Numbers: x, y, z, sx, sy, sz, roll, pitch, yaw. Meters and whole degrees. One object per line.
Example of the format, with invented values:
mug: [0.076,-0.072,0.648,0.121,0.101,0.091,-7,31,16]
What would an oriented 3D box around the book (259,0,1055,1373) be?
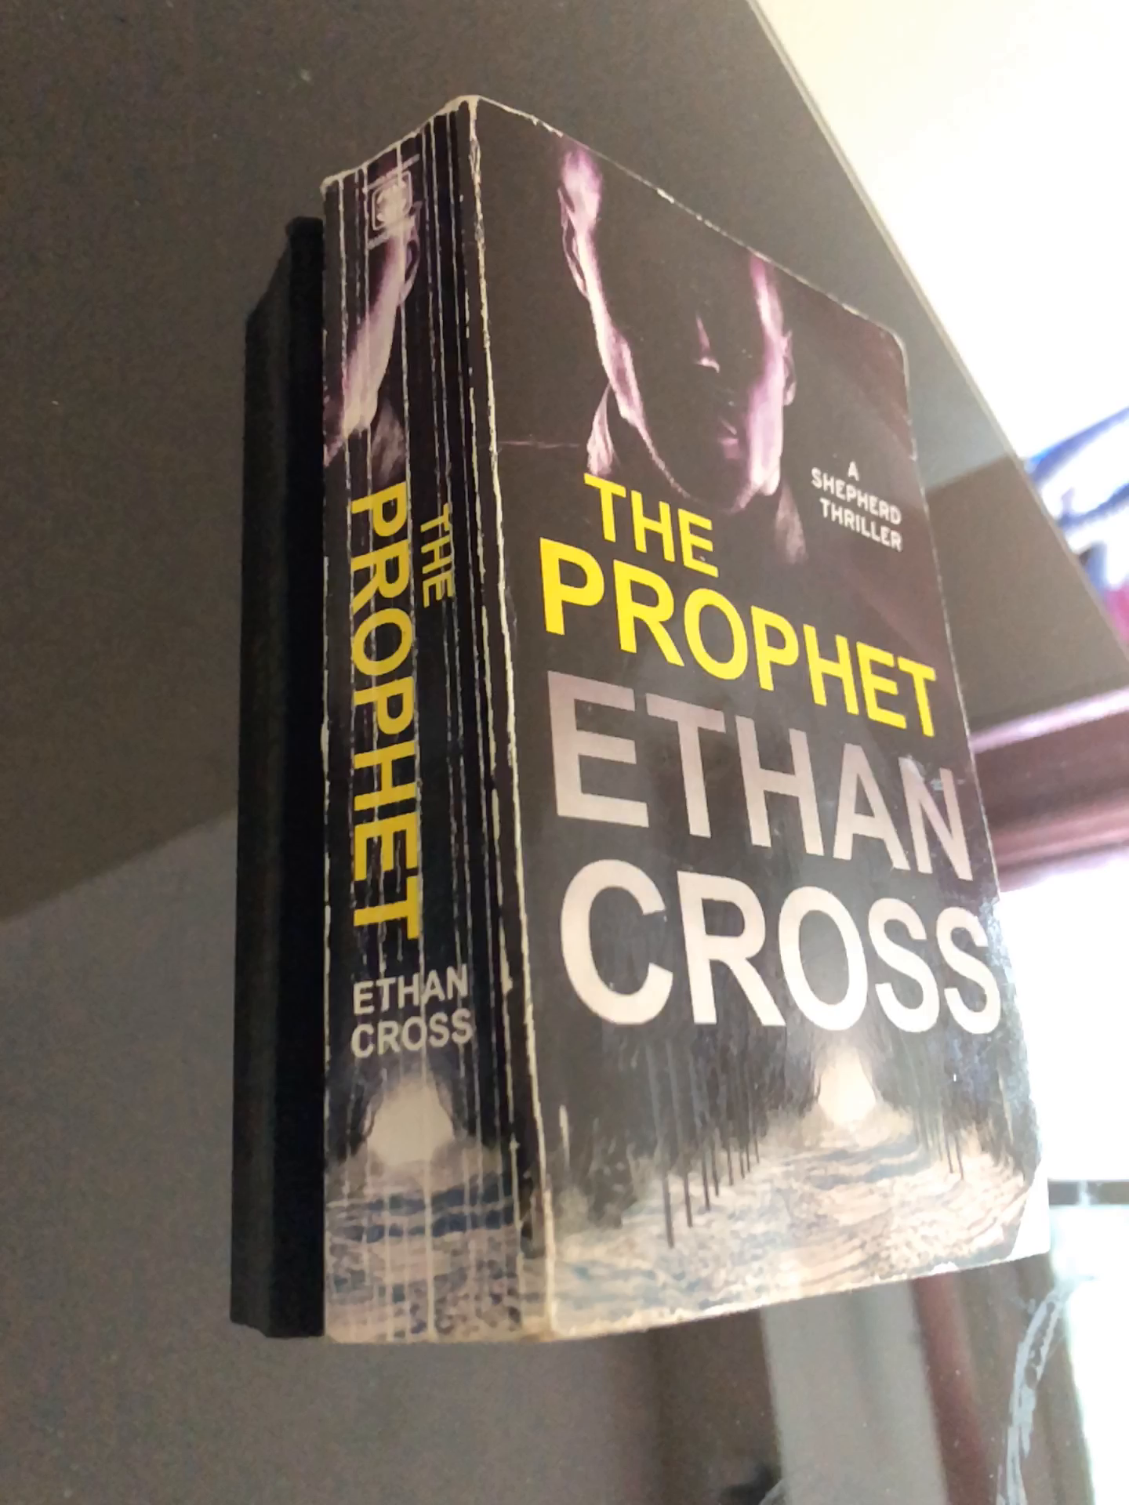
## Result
book: [0.015,-0.010,0.203,0.116,0.040,0.179,13,66,-40]
